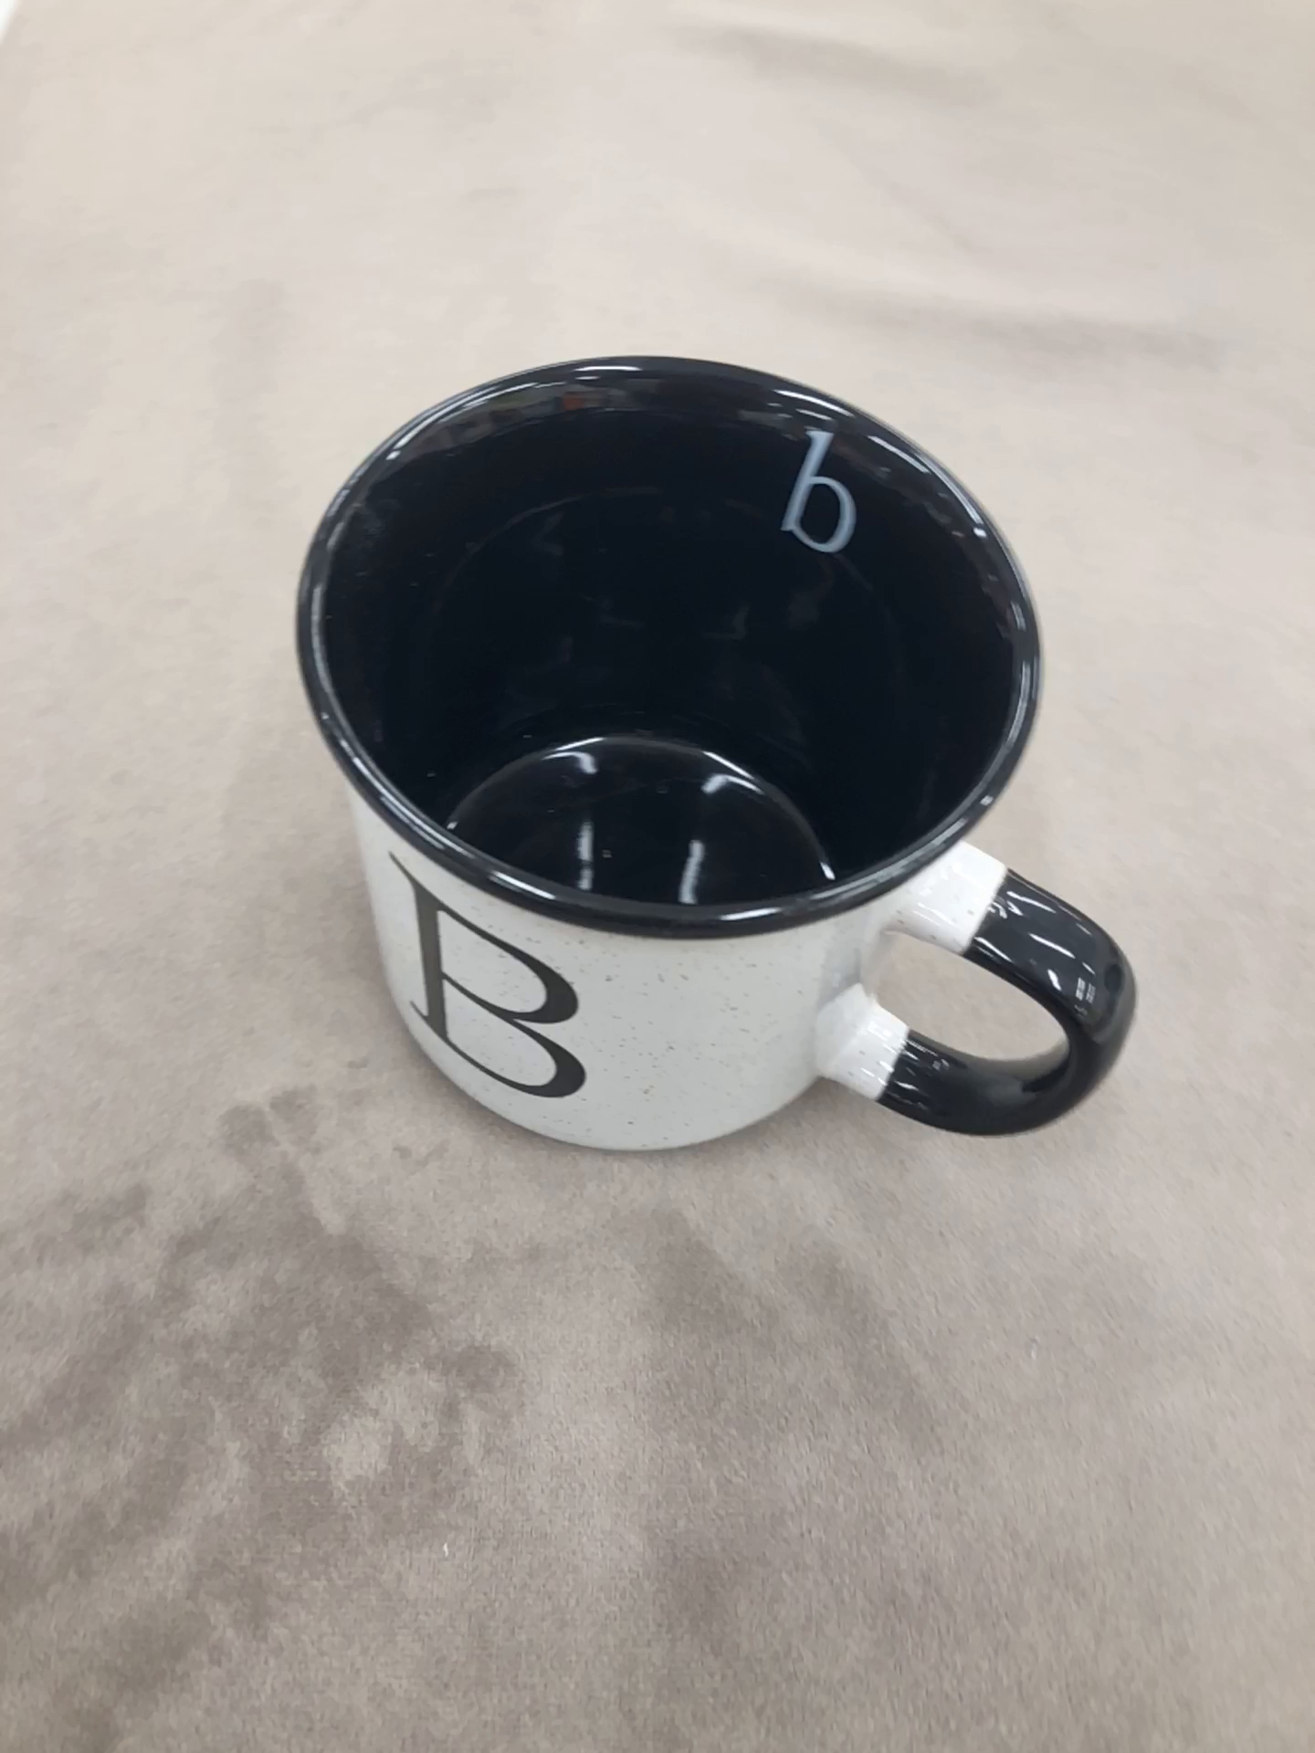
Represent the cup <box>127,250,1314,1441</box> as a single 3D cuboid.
[{"bbox_3d":[0.019,-0.007,0.231,0.150,0.090,0.100,29,60,13],"label":"cup"}]
